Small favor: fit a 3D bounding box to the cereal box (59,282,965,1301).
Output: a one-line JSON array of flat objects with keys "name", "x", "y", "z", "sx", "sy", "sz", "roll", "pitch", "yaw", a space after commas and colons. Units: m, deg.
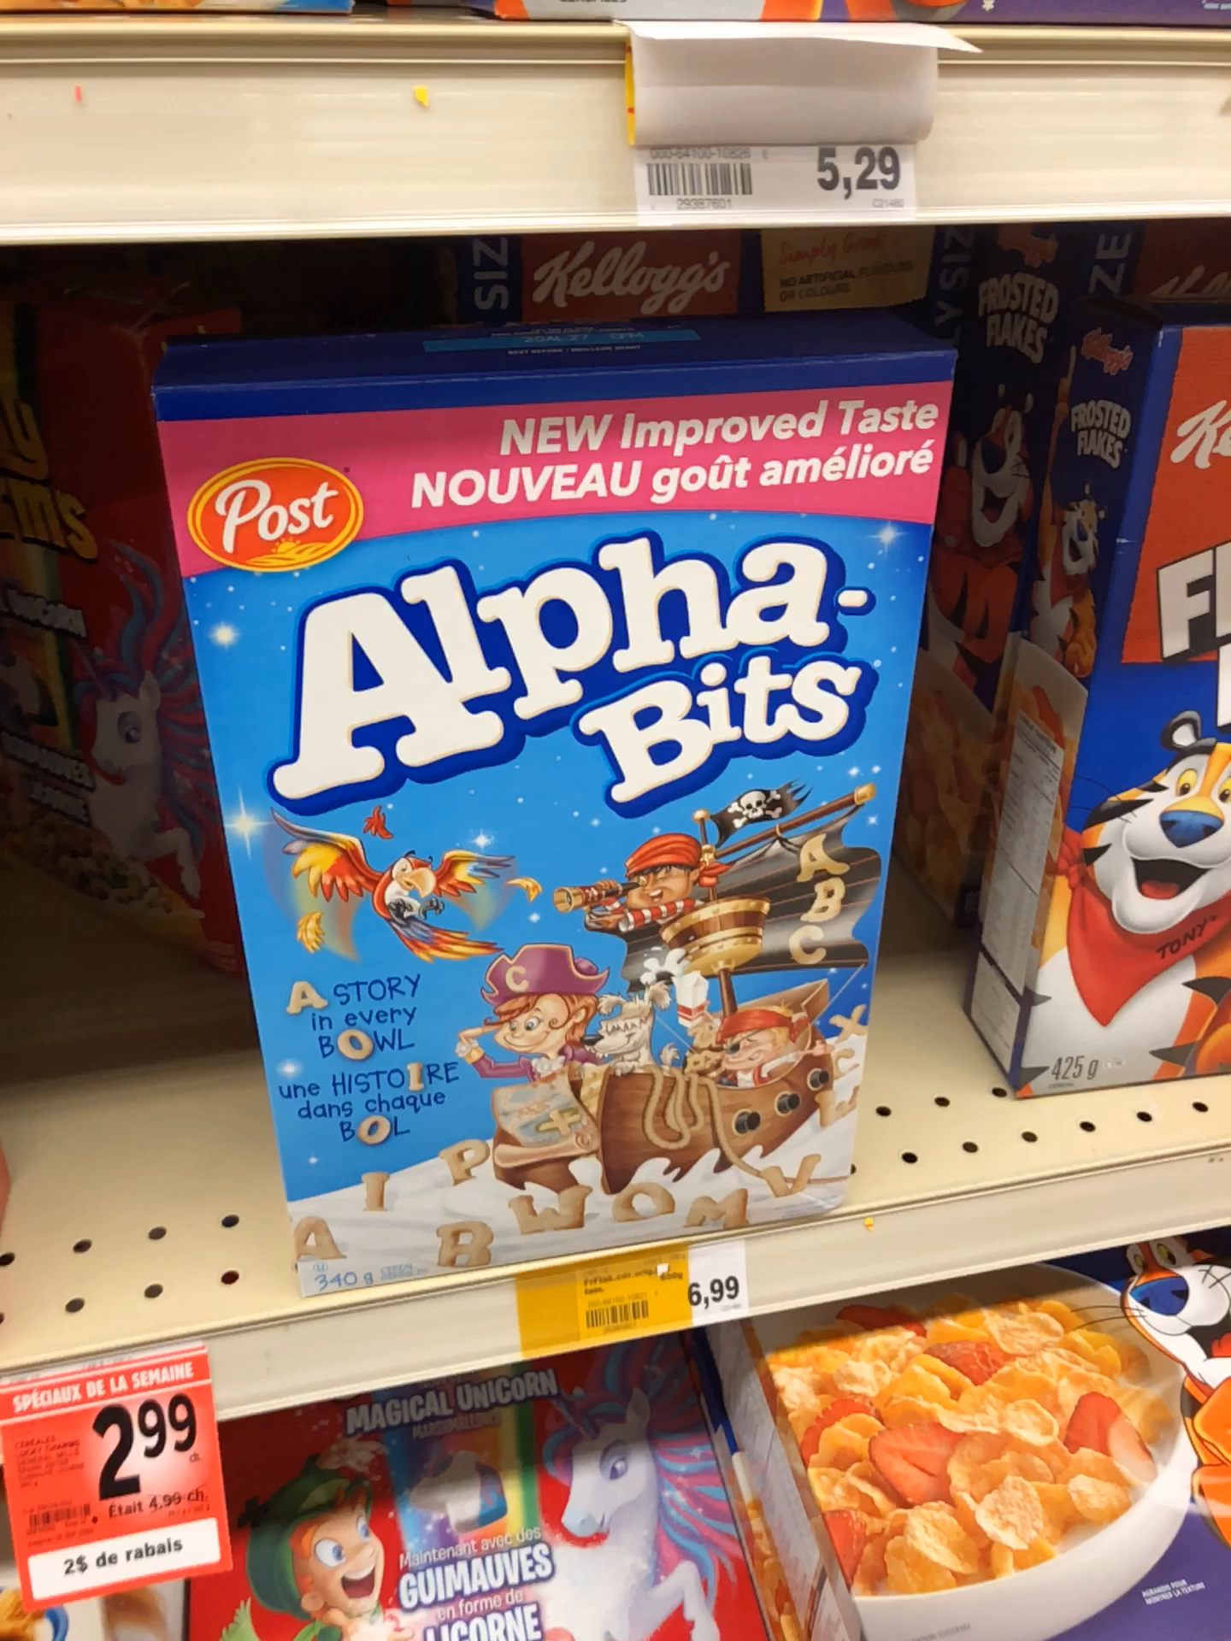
[{"name": "cereal box", "x": -0.026, "y": 0.006, "z": 0.404, "sx": 0.200, "sy": 0.297, "sz": 0.060, "roll": -6, "pitch": 34, "yaw": -11}]
